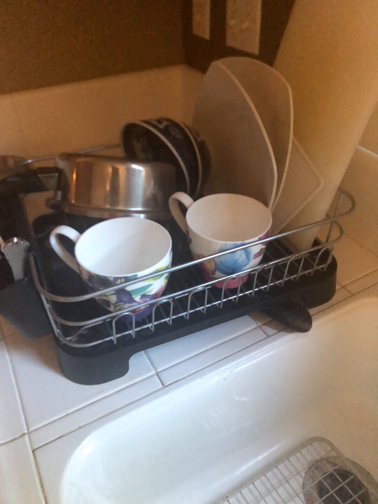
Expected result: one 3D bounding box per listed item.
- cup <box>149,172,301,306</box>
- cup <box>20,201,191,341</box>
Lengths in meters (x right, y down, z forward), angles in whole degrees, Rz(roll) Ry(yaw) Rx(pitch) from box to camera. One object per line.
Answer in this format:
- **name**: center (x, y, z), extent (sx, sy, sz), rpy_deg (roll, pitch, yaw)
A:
- **cup**: center (0.047, -0.025, 0.568), extent (0.160, 0.089, 0.111), rpy_deg (25, 45, 31)
- **cup**: center (-0.093, 0.017, 0.514), extent (0.160, 0.089, 0.111), rpy_deg (13, 40, 19)
